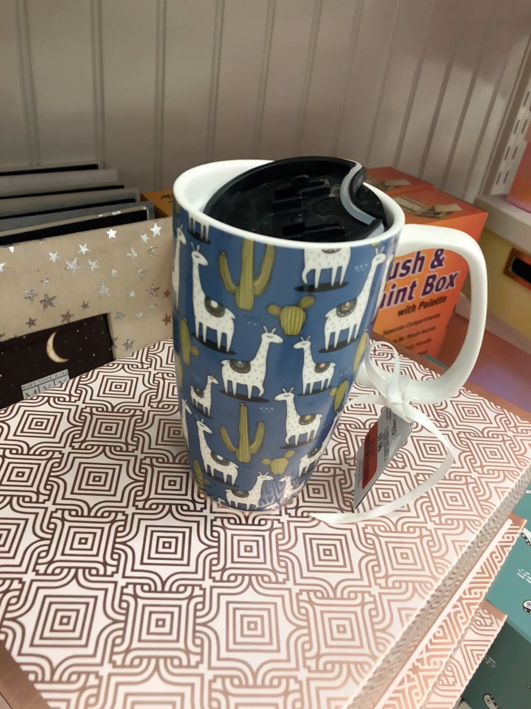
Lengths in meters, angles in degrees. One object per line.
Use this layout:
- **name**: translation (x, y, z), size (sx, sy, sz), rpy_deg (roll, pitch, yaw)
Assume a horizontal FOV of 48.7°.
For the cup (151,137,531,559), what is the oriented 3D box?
- **cup**: translation (0.024, -0.002, 0.251), size (0.125, 0.138, 0.090), rpy_deg (7, 33, 0)
